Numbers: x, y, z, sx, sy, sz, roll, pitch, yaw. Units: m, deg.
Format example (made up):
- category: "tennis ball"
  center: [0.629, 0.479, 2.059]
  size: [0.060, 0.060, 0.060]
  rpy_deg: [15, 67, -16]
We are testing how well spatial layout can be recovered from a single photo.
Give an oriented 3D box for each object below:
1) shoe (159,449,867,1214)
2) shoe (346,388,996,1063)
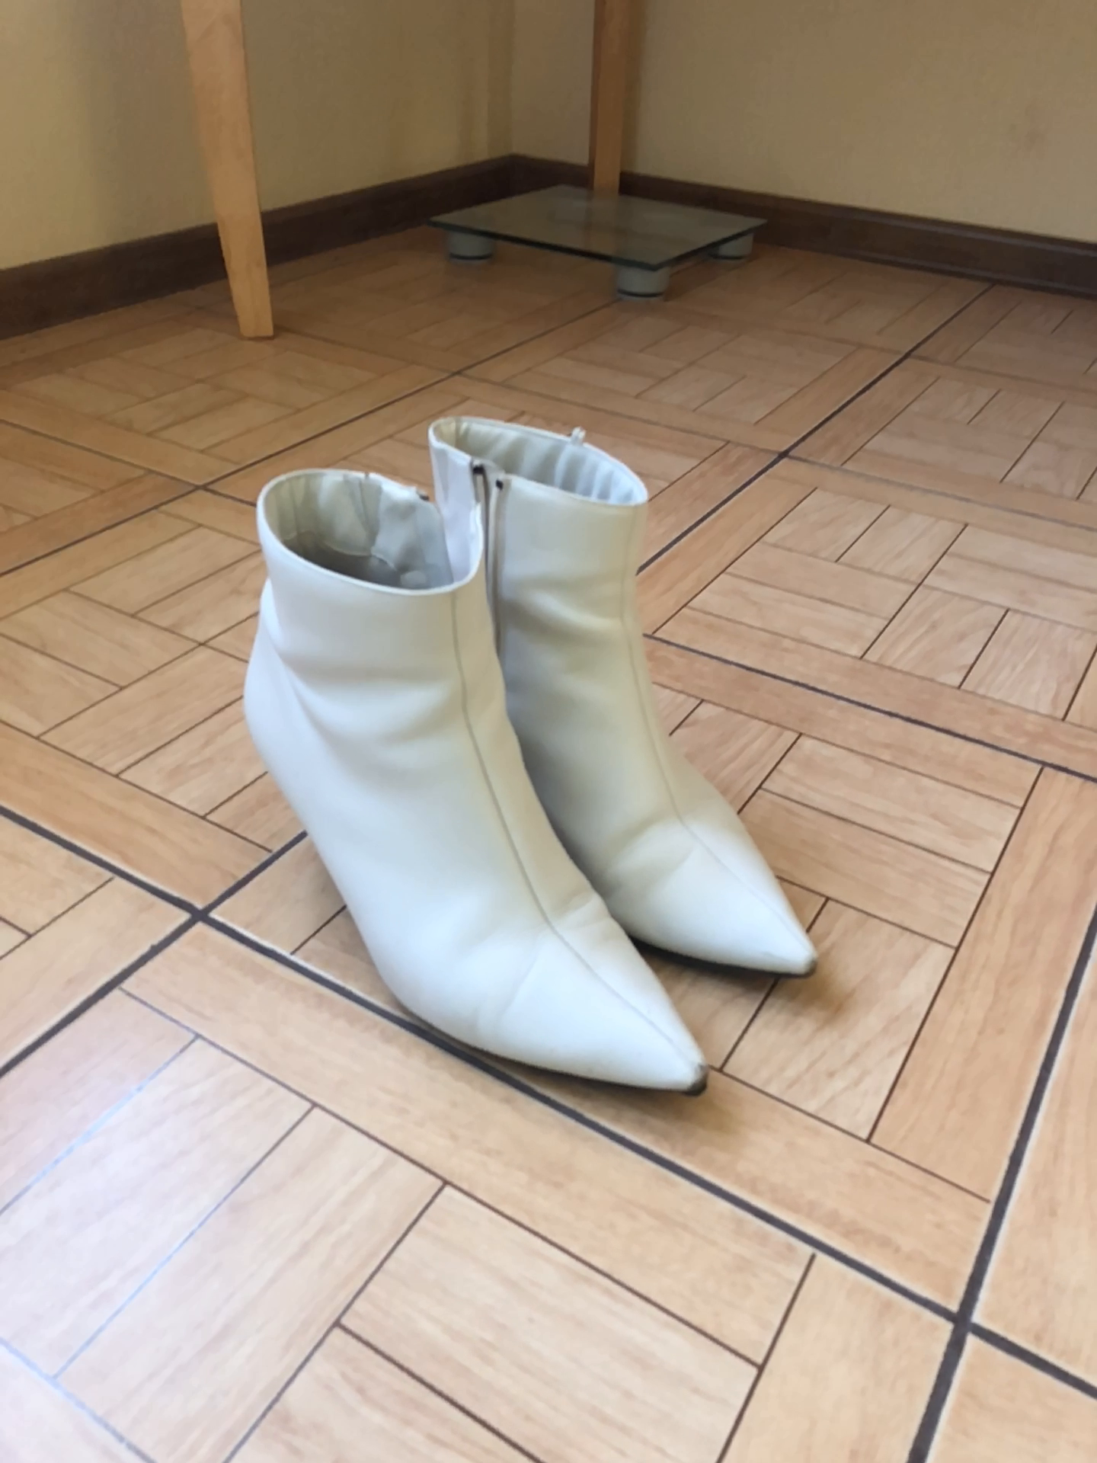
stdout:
- category: "shoe"
  center: [-0.030, 0.017, 0.450]
  size: [0.100, 0.154, 0.254]
  rpy_deg: [-24, 43, -35]
- category: "shoe"
  center: [0.027, -0.023, 0.513]
  size: [0.100, 0.154, 0.274]
  rpy_deg: [-20, 40, -30]
